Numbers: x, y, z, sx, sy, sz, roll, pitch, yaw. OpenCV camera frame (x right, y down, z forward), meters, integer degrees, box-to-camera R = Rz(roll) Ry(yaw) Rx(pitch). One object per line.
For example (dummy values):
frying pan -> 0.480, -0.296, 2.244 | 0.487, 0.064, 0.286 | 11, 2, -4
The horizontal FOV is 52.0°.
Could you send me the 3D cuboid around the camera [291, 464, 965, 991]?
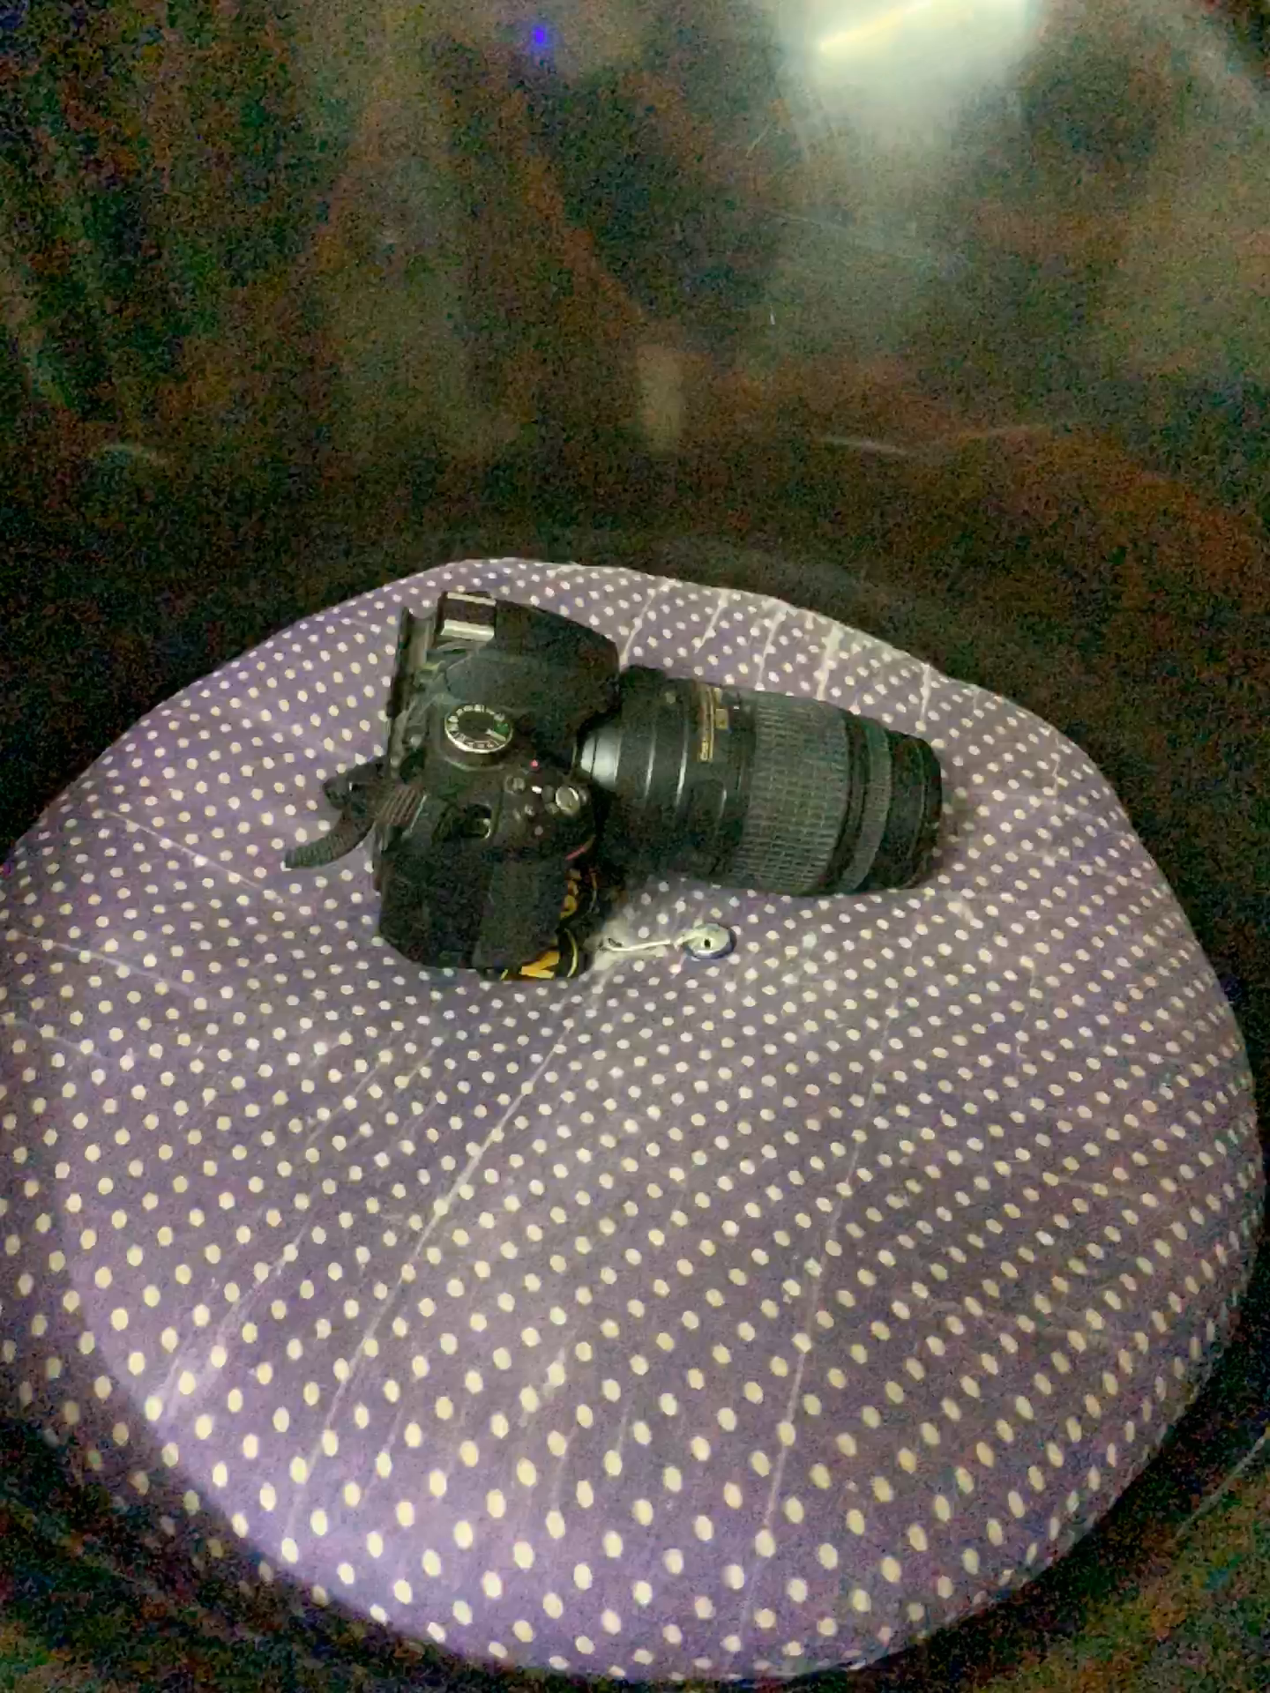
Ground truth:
camera -> -0.011, -0.042, 0.469 | 0.200, 0.100, 0.141 | 6, 42, -12
